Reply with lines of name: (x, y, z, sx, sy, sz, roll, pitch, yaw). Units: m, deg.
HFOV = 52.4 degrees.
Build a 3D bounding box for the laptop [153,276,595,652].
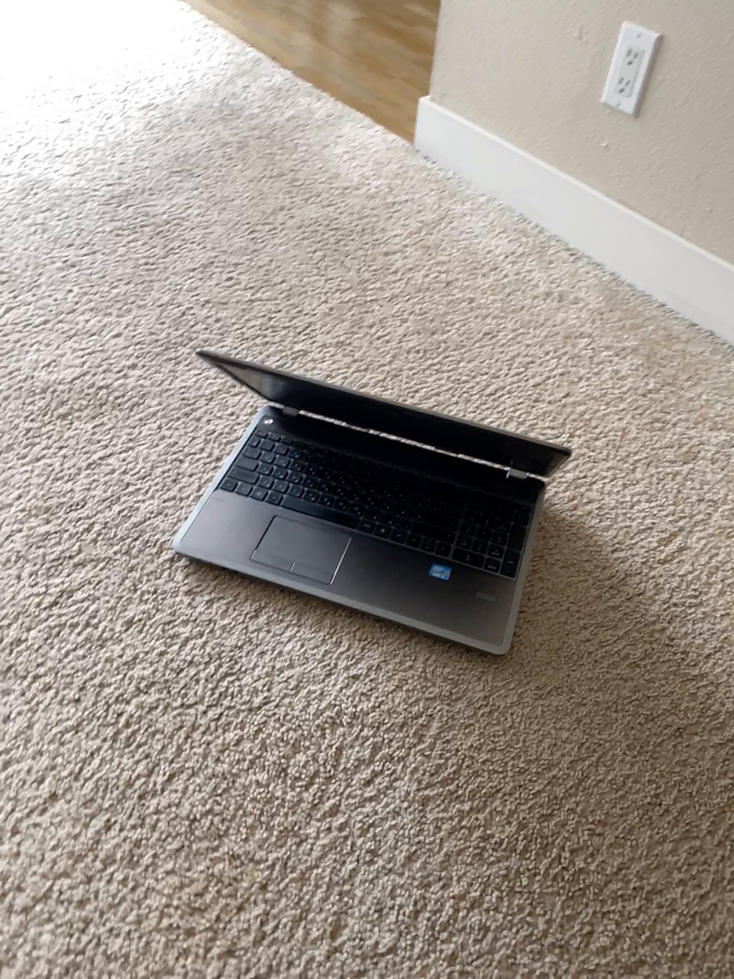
laptop: (0.016, -0.039, 0.789, 0.368, 0.186, 0.255, 16, 48, 9)
